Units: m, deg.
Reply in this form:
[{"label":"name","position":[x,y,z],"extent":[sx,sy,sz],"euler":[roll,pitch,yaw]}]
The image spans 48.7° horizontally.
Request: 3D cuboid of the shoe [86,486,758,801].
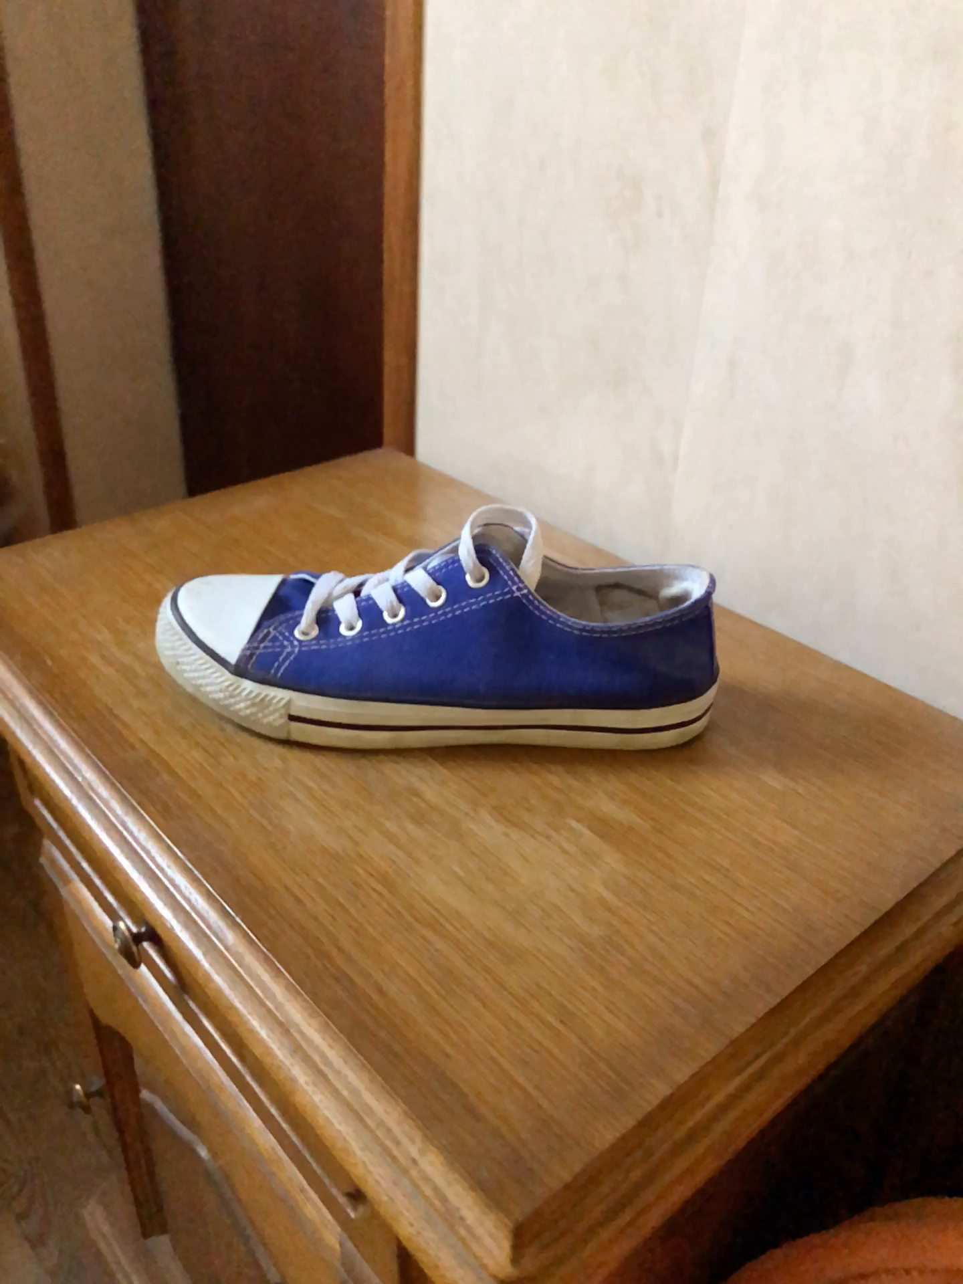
[{"label":"shoe","position":[-0.023,-0.002,0.472],"extent":[0.260,0.089,0.091],"euler":[4,30,1]}]
